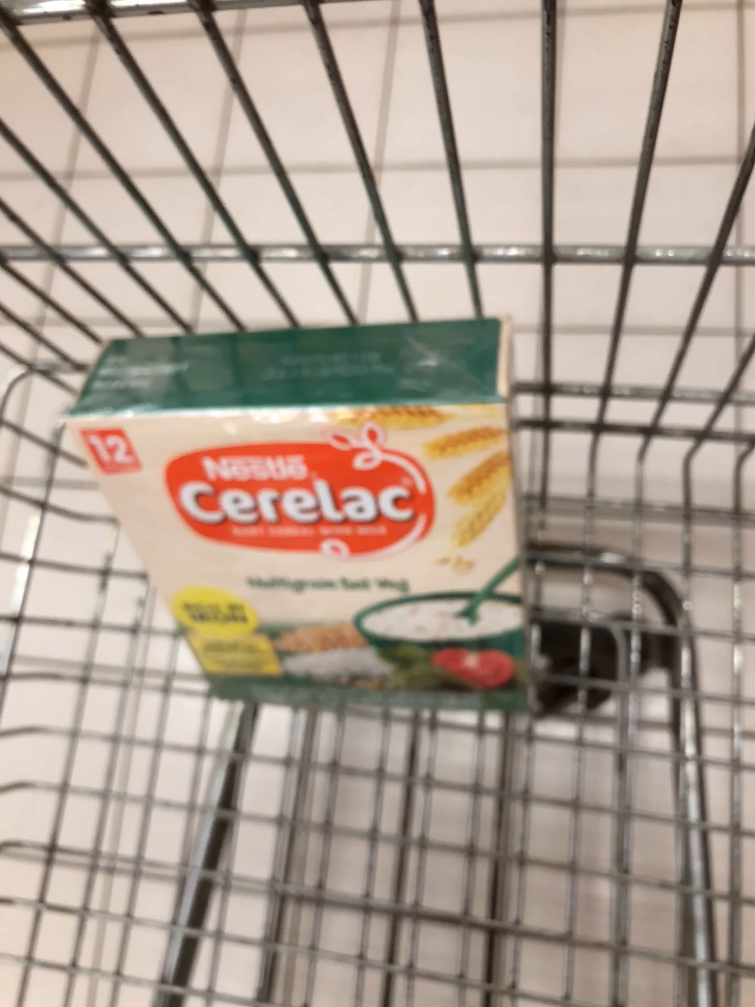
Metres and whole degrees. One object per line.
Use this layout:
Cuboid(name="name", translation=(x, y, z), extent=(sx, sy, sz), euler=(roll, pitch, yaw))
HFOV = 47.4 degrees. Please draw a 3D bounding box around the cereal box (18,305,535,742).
Cuboid(name="cereal box", translation=(-0.020, 0.021, 0.344), extent=(0.160, 0.189, 0.050), euler=(-1, 45, 11))
